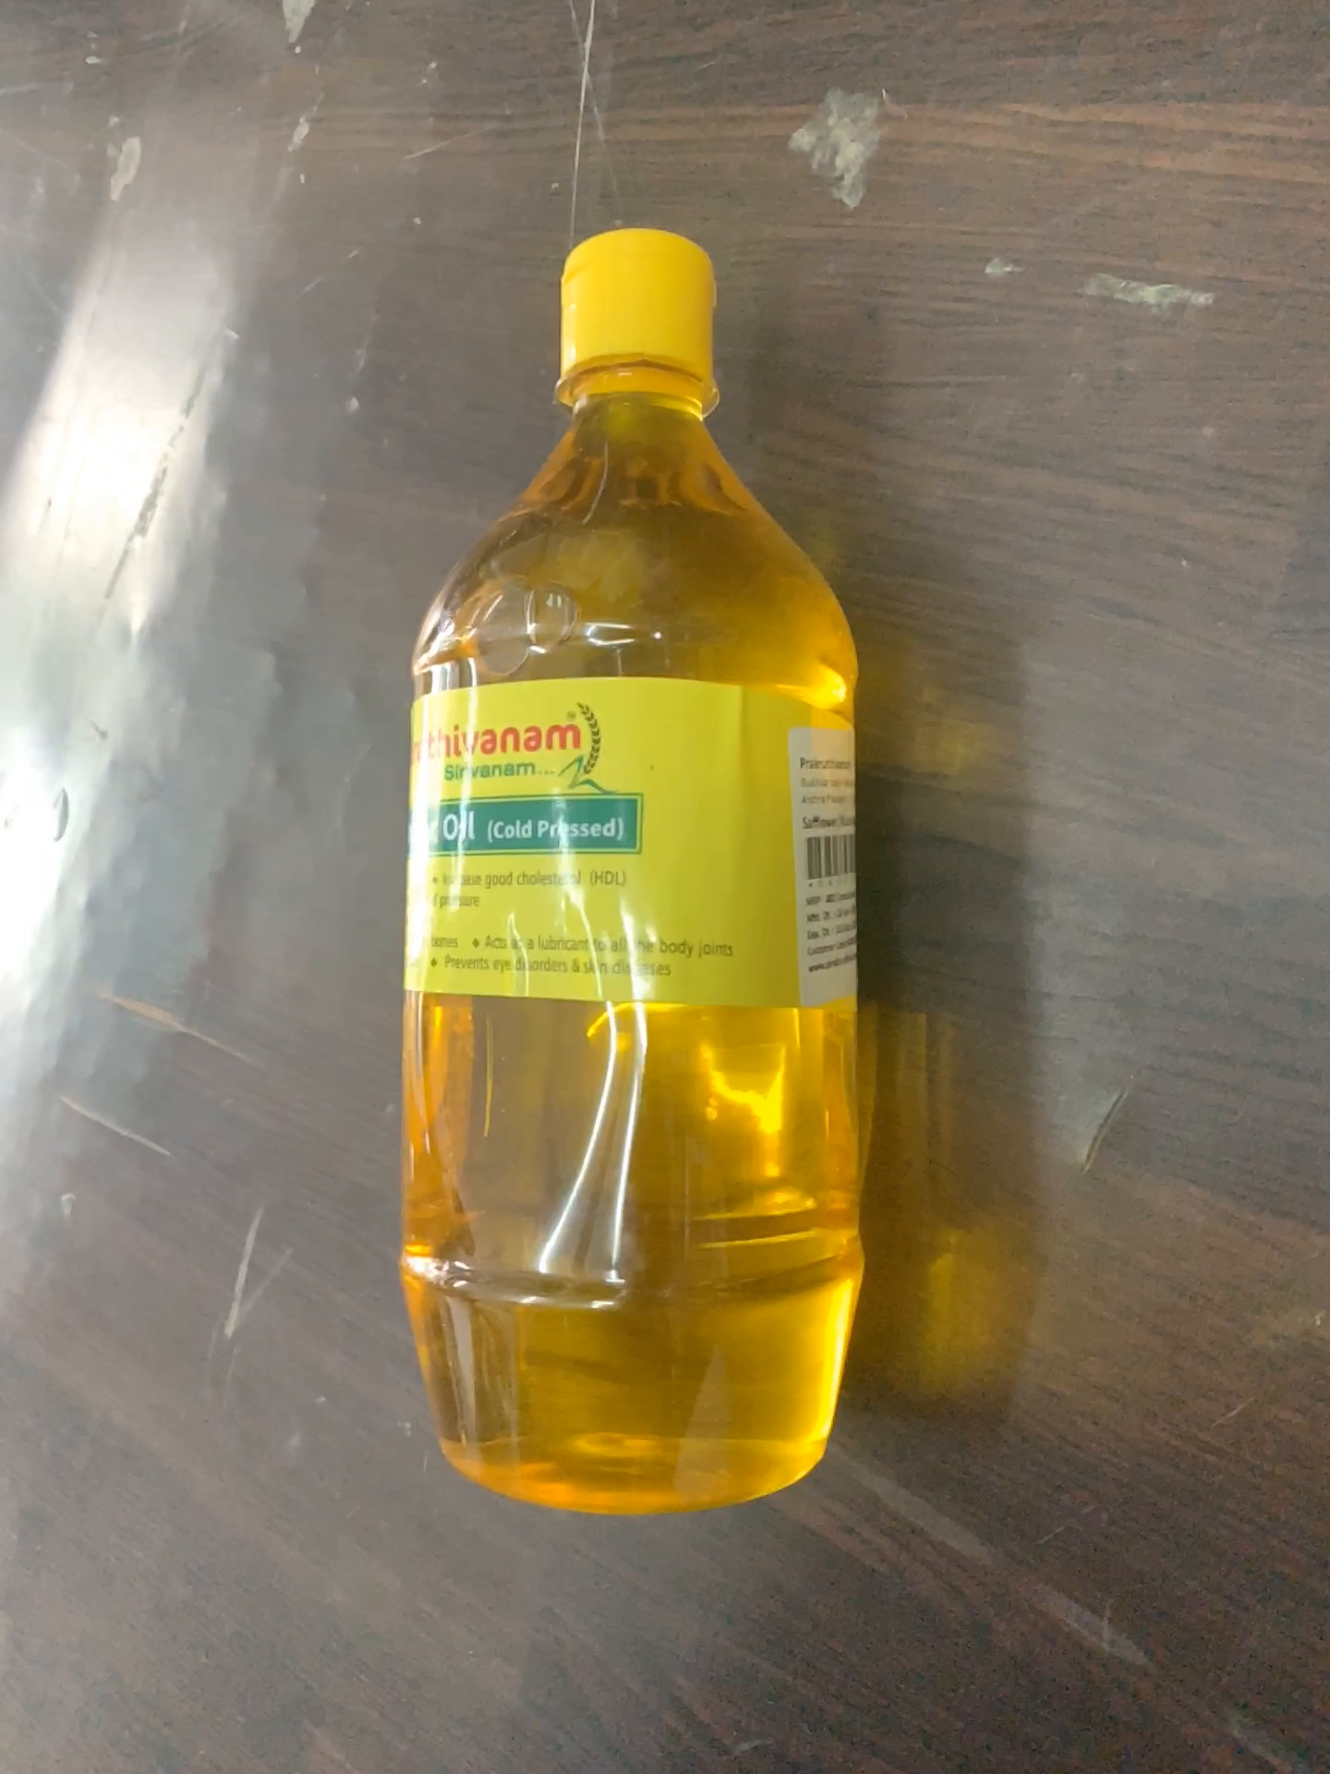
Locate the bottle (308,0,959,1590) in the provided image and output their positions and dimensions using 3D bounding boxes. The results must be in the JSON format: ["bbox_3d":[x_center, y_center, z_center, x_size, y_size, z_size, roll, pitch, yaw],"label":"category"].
[{"bbox_3d":[-0.008,-0.014,0.256,0.090,0.080,0.230,-3,87,49],"label":"bottle"}]
